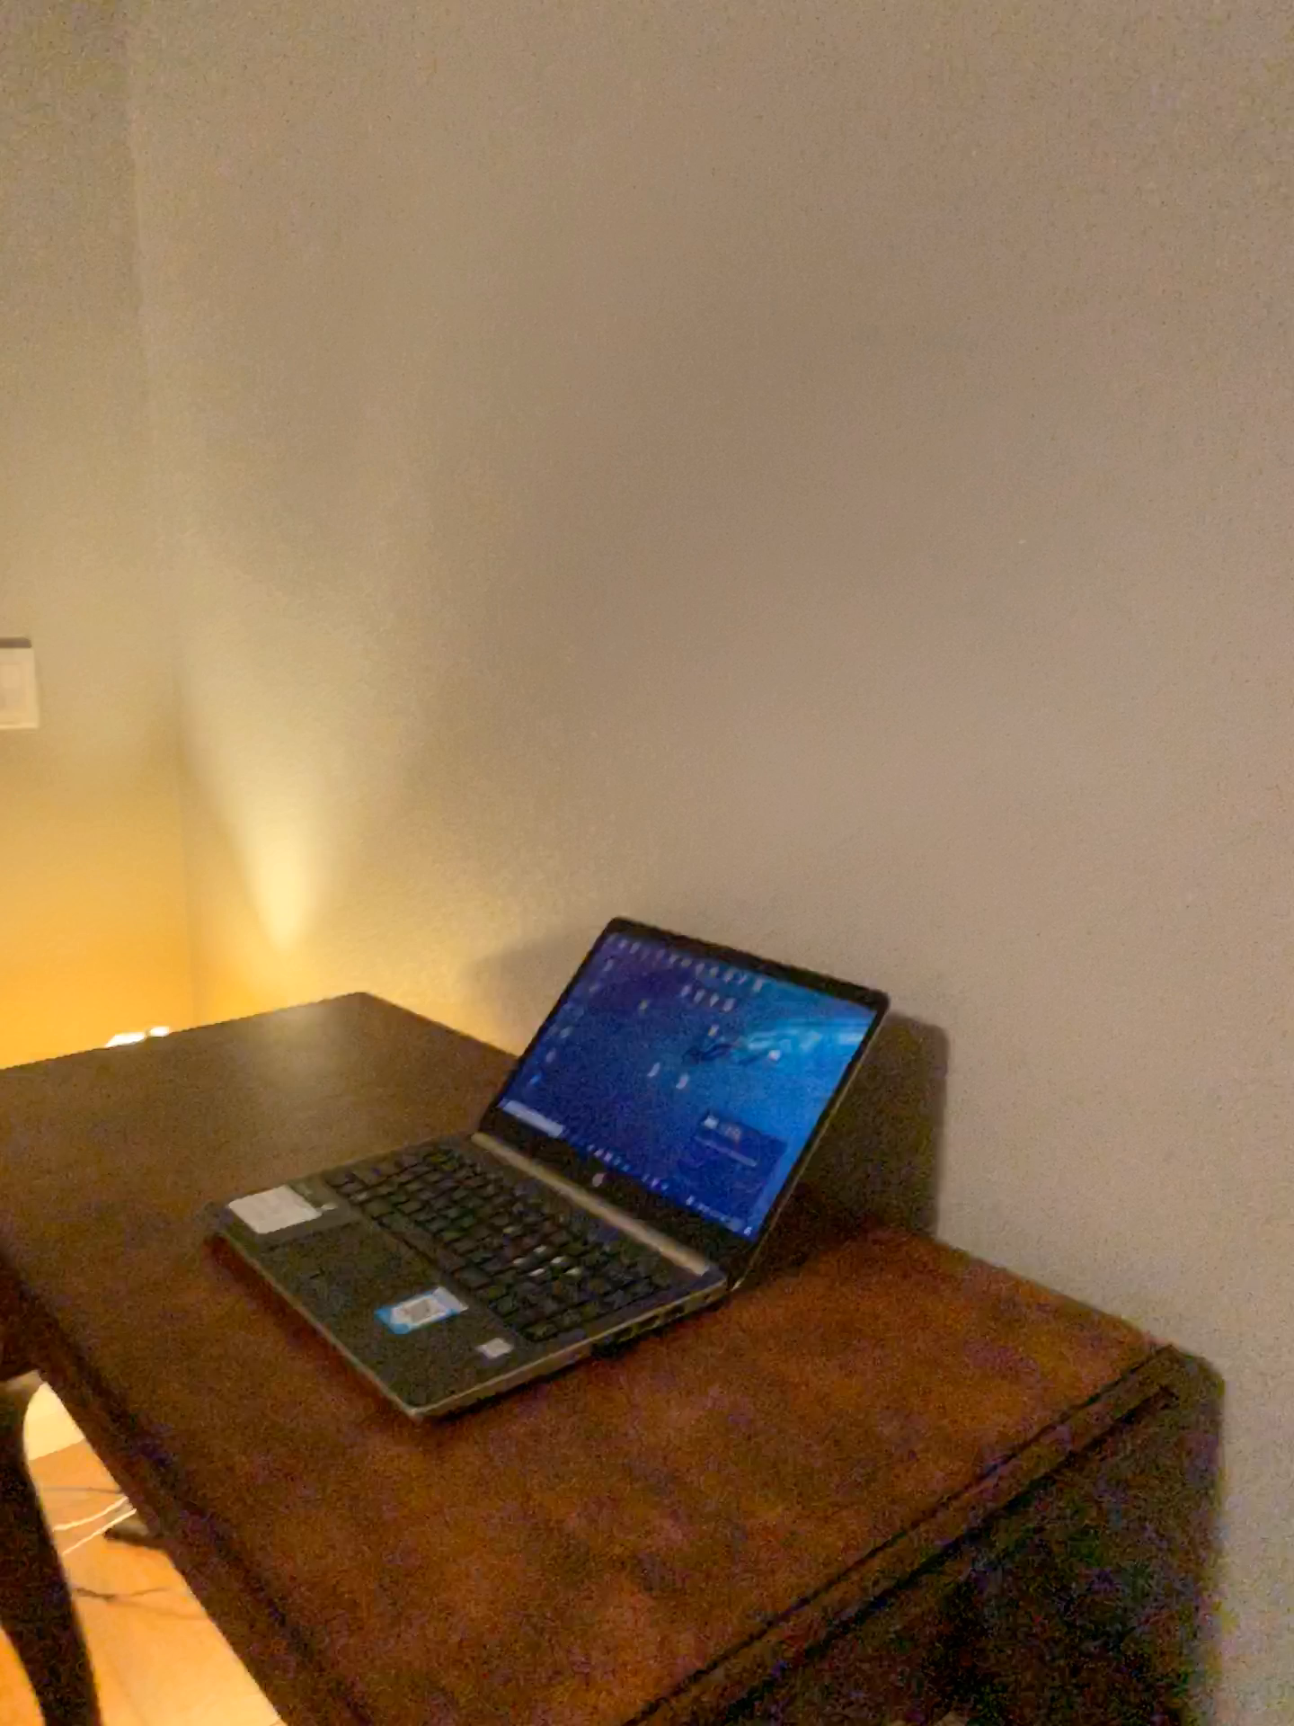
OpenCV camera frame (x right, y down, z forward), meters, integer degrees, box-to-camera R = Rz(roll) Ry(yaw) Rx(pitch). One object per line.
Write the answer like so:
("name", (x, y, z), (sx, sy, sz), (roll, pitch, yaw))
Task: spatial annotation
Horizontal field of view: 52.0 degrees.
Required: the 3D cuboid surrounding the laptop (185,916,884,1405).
("laptop", (-0.080, 0.165, 0.920), (0.368, 0.152, 0.318), (-8, 13, -37))
